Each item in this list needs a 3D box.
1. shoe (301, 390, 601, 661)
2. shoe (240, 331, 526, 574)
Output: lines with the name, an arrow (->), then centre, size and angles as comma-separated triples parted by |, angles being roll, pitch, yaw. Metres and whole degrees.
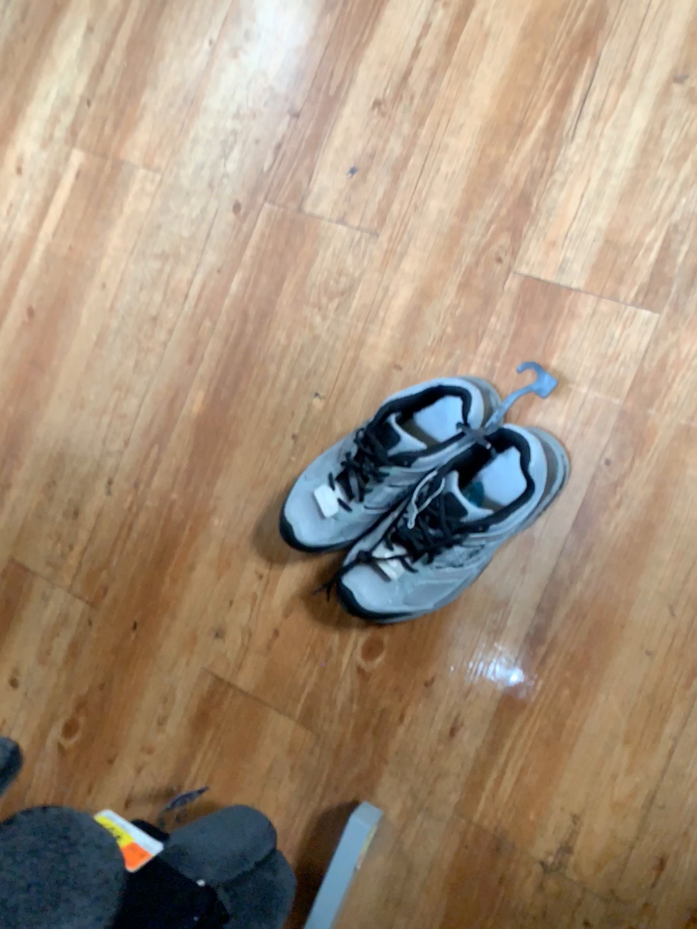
shoe -> 0.114, 0.072, 0.789 | 0.309, 0.099, 0.123 | -40, 73, 11
shoe -> 0.039, -0.006, 0.822 | 0.308, 0.089, 0.117 | -35, 74, 12
